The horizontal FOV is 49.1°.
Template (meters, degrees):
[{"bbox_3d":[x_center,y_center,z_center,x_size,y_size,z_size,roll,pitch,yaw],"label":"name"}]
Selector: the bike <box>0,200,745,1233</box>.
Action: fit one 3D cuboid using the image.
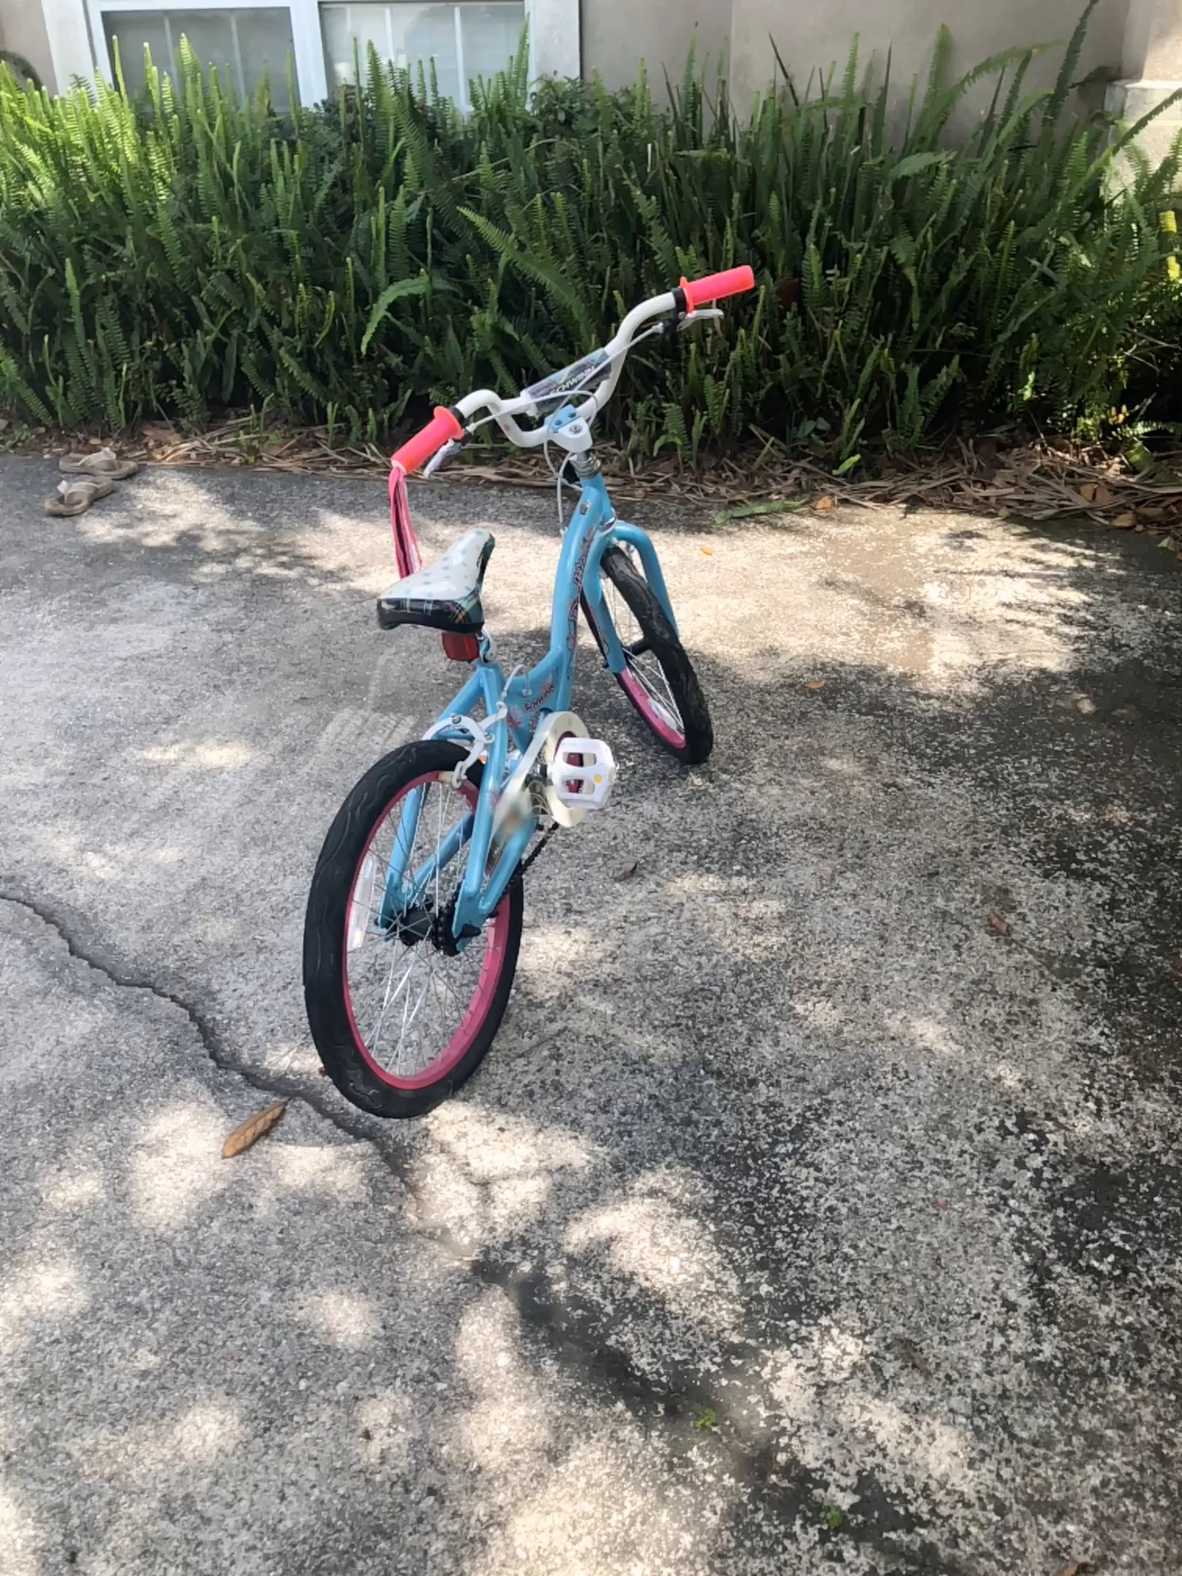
[{"bbox_3d":[-0.216,-0.276,1.957,0.699,0.923,1.317,7,33,13],"label":"bike"}]
